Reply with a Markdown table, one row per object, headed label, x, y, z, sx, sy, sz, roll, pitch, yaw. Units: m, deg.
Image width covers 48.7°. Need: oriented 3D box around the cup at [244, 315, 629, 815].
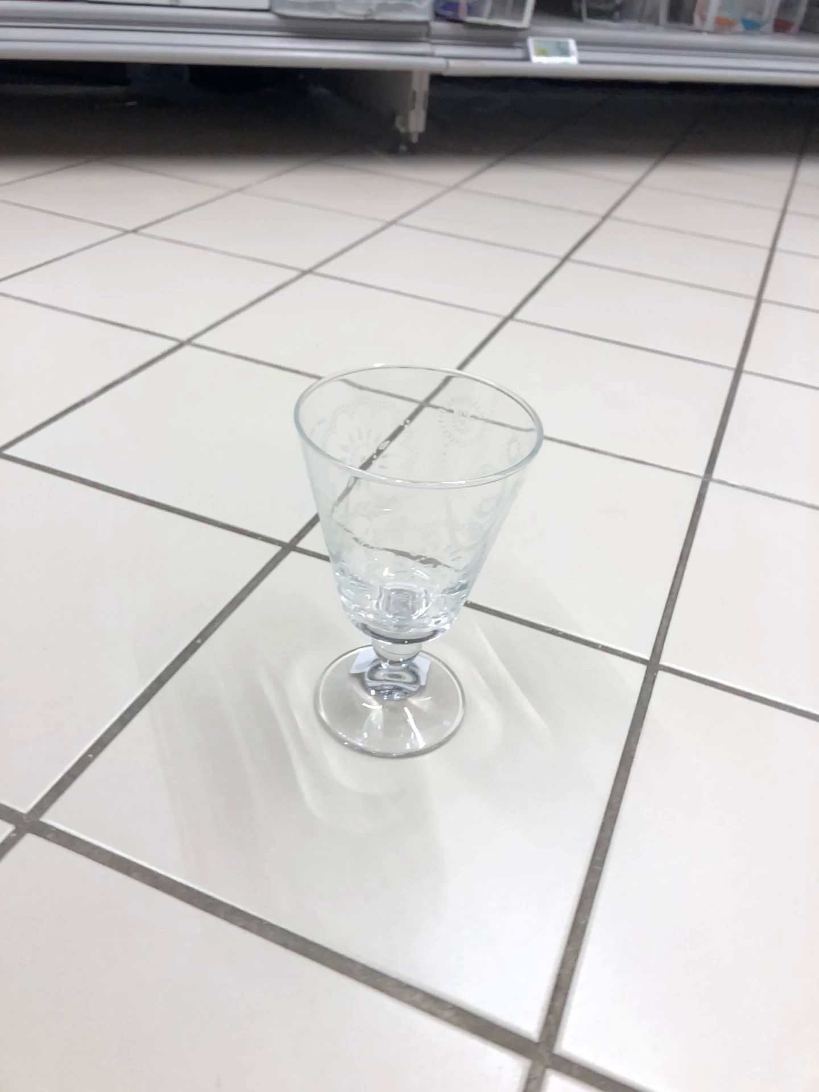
| label | x | y | z | sx | sy | sz | roll | pitch | yaw |
| --- | --- | --- | --- | --- | --- | --- | --- | --- | --- |
| cup | 0.006 | 0.003 | 0.346 | 0.094 | 0.138 | 0.096 | 4 | 34 | -3 |
